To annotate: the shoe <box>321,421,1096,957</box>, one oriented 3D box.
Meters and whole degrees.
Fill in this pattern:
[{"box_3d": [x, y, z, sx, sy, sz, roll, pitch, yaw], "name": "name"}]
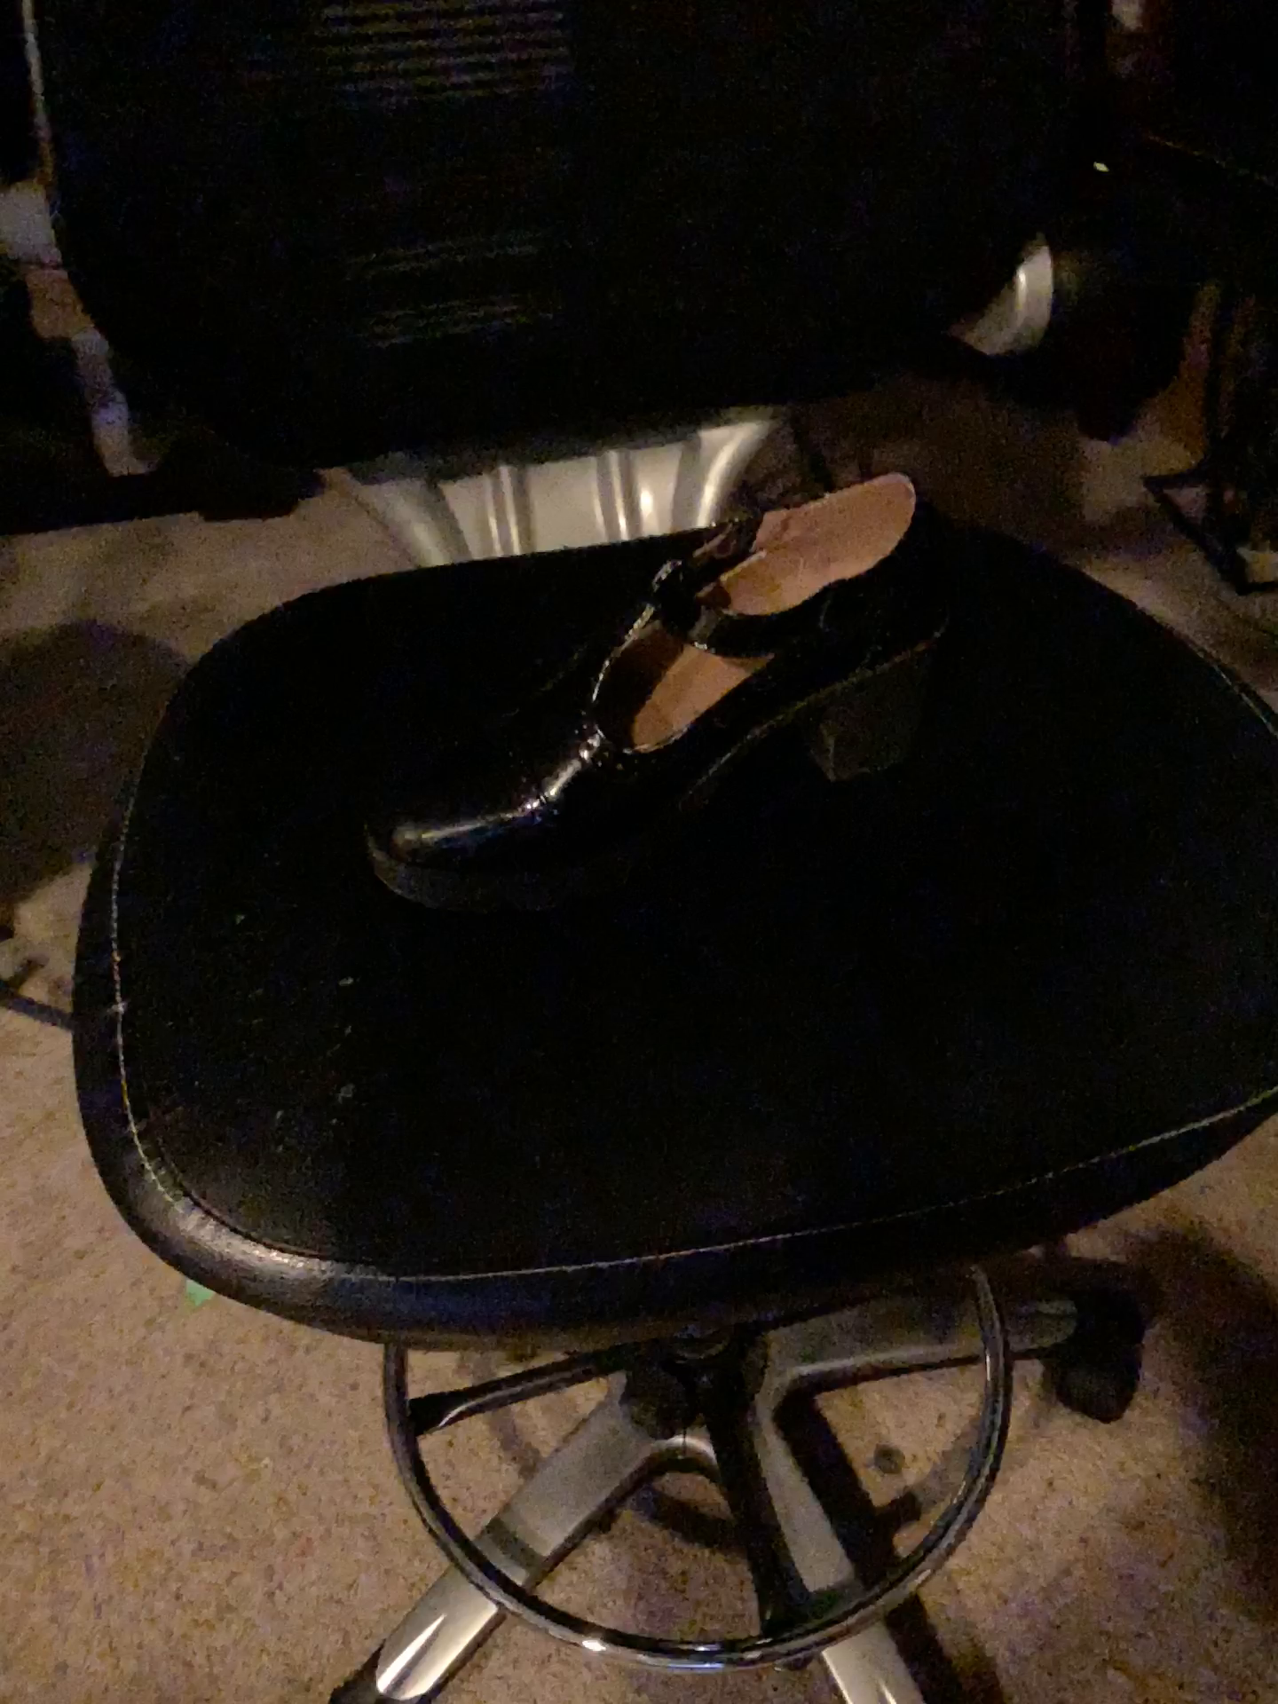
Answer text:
[{"box_3d": [0.029, -0.073, 0.565, 0.270, 0.100, 0.110, -19, 43, -16], "name": "shoe"}]
